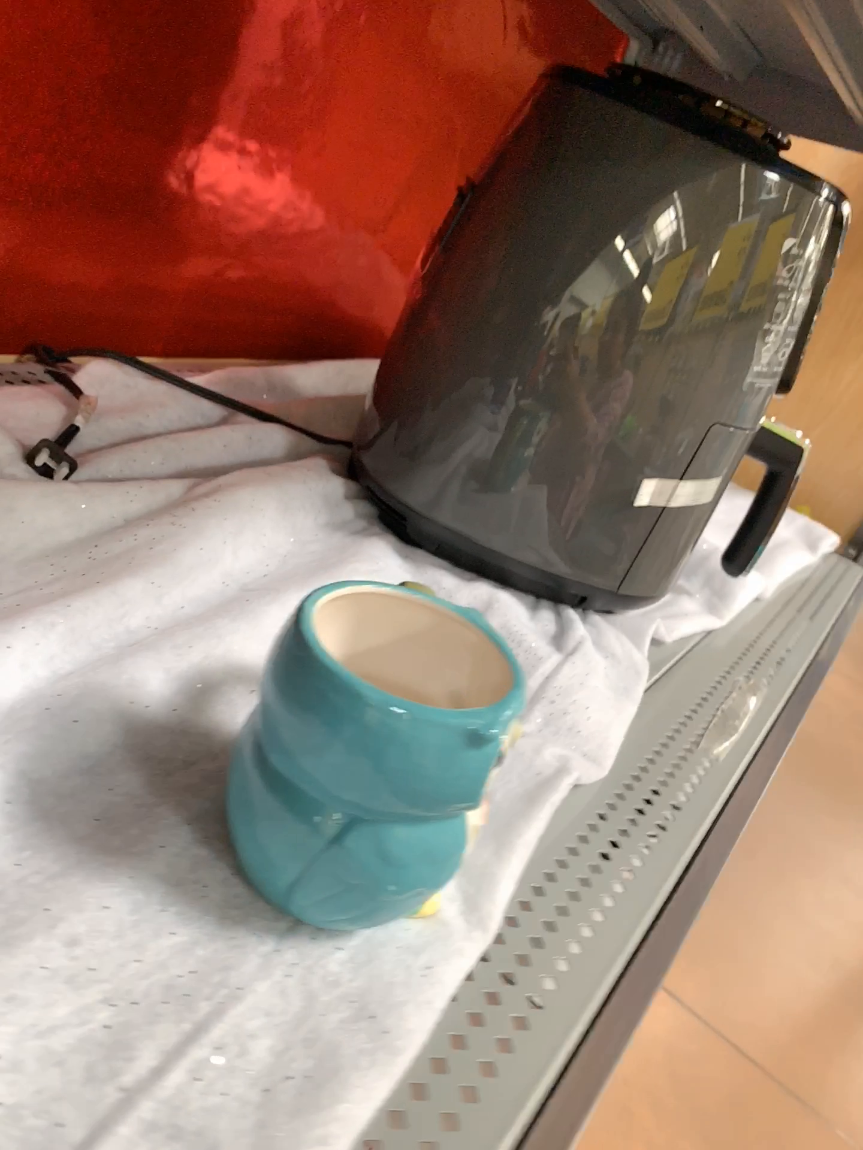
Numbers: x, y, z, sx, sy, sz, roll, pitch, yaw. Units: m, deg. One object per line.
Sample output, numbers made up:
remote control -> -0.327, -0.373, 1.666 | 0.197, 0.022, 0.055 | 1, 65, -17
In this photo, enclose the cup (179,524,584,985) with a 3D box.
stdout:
cup -> -0.016, 0.062, 0.346 | 0.108, 0.087, 0.128 | 21, 26, -8
